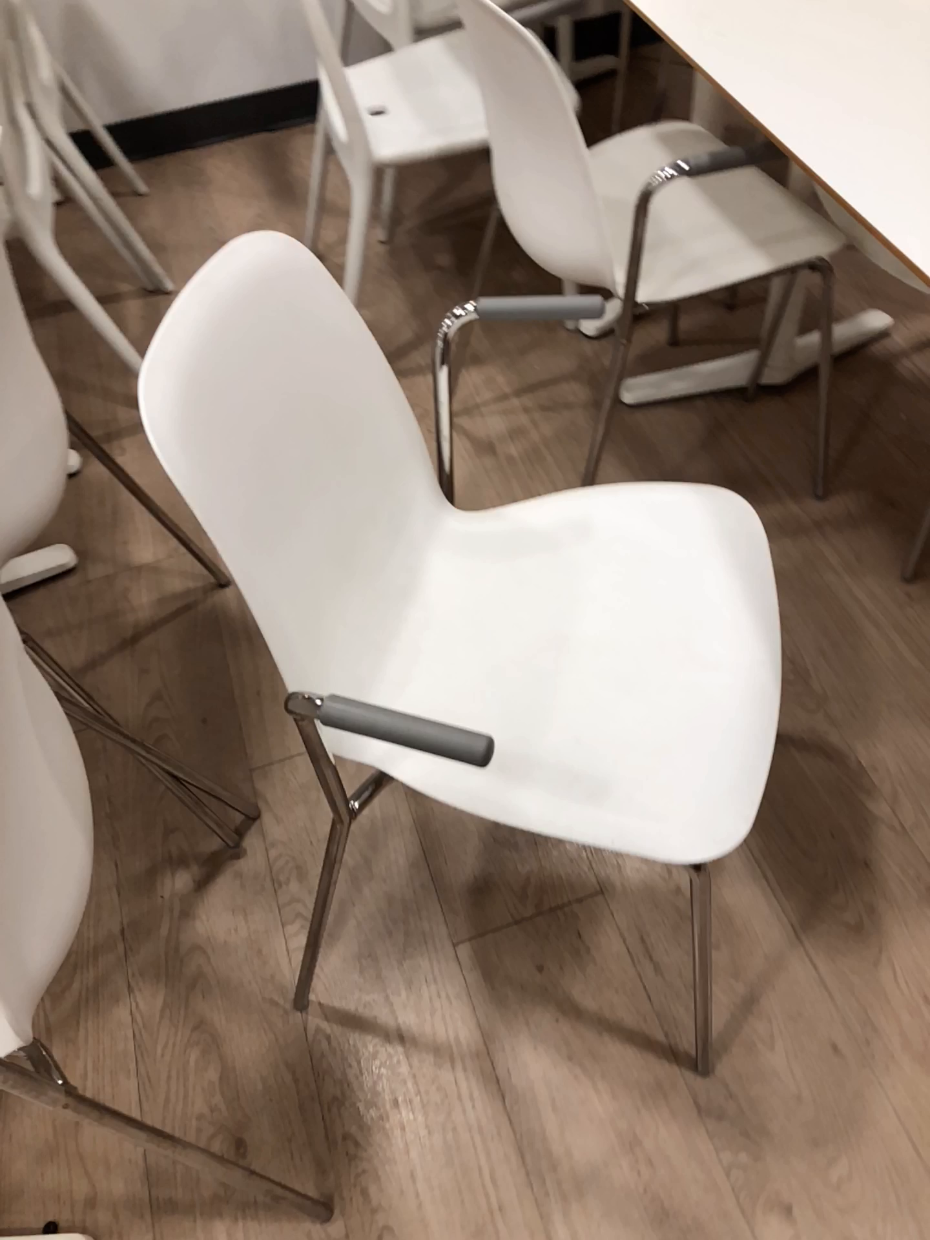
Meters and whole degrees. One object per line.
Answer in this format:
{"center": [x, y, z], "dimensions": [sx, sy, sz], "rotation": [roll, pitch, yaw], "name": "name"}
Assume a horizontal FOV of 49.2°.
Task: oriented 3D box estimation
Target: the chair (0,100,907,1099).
{"center": [0.062, 0.015, 1.037], "dimensions": [0.530, 0.805, 0.573], "rotation": [7, 51, 13], "name": "chair"}
